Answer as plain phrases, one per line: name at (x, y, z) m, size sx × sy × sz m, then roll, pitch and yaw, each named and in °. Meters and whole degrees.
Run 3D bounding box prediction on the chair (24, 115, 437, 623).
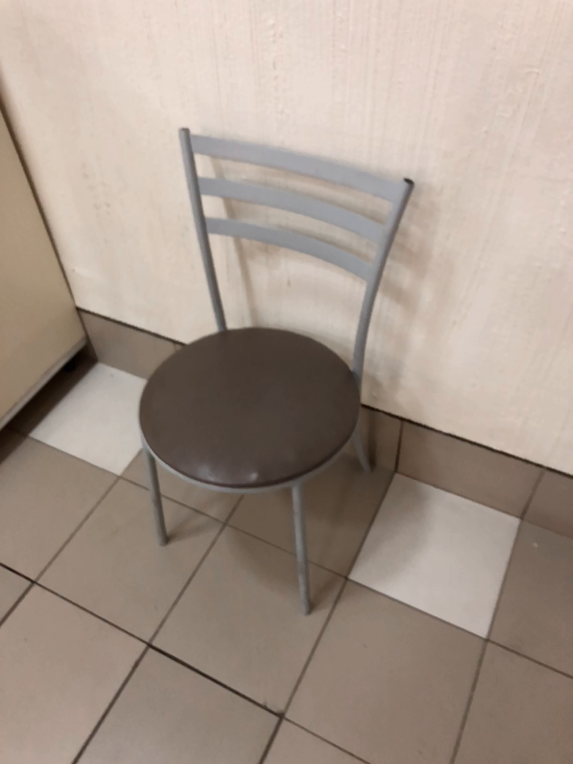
chair at (-0.045, 0.009, 1.171) m, size 0.430 × 0.765 × 0.422 m, roll 18°, pitch 51°, yaw 19°
